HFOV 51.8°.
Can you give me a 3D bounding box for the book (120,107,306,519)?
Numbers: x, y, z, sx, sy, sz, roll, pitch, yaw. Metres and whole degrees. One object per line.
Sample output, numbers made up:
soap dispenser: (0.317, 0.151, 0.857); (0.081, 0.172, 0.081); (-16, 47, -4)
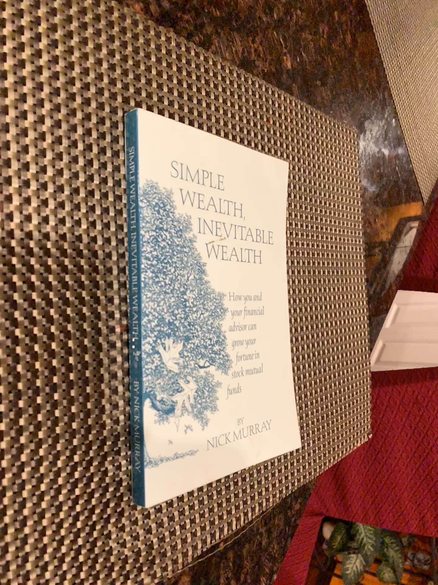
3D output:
book: (0.005, 0.010, 0.288); (0.141, 0.021, 0.210); (0, 89, -46)
